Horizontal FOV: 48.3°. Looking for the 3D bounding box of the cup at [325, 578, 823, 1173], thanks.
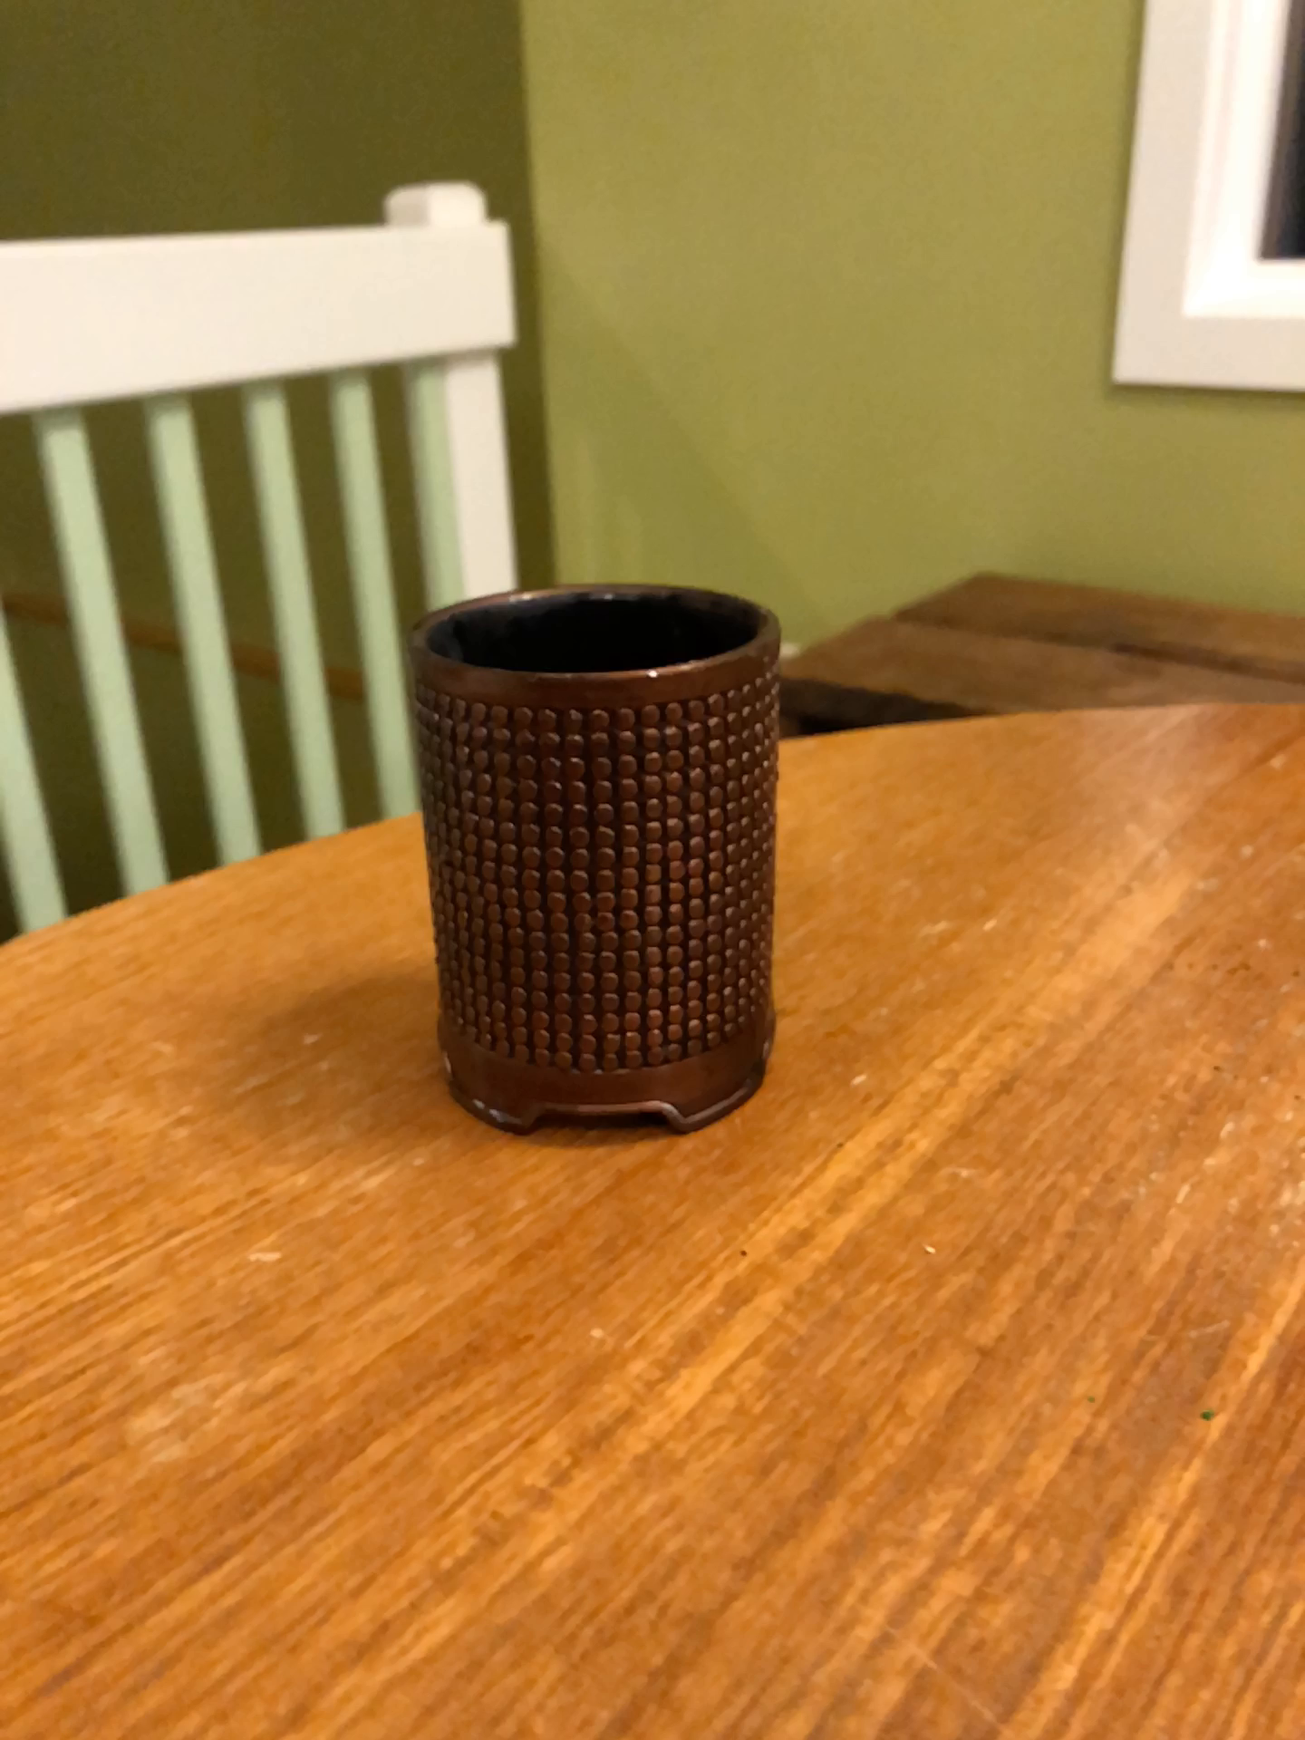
[{"bbox_3d":[-0.011,-0.004,0.307,0.077,0.097,0.073,-2,23,1],"label":"cup"}]
